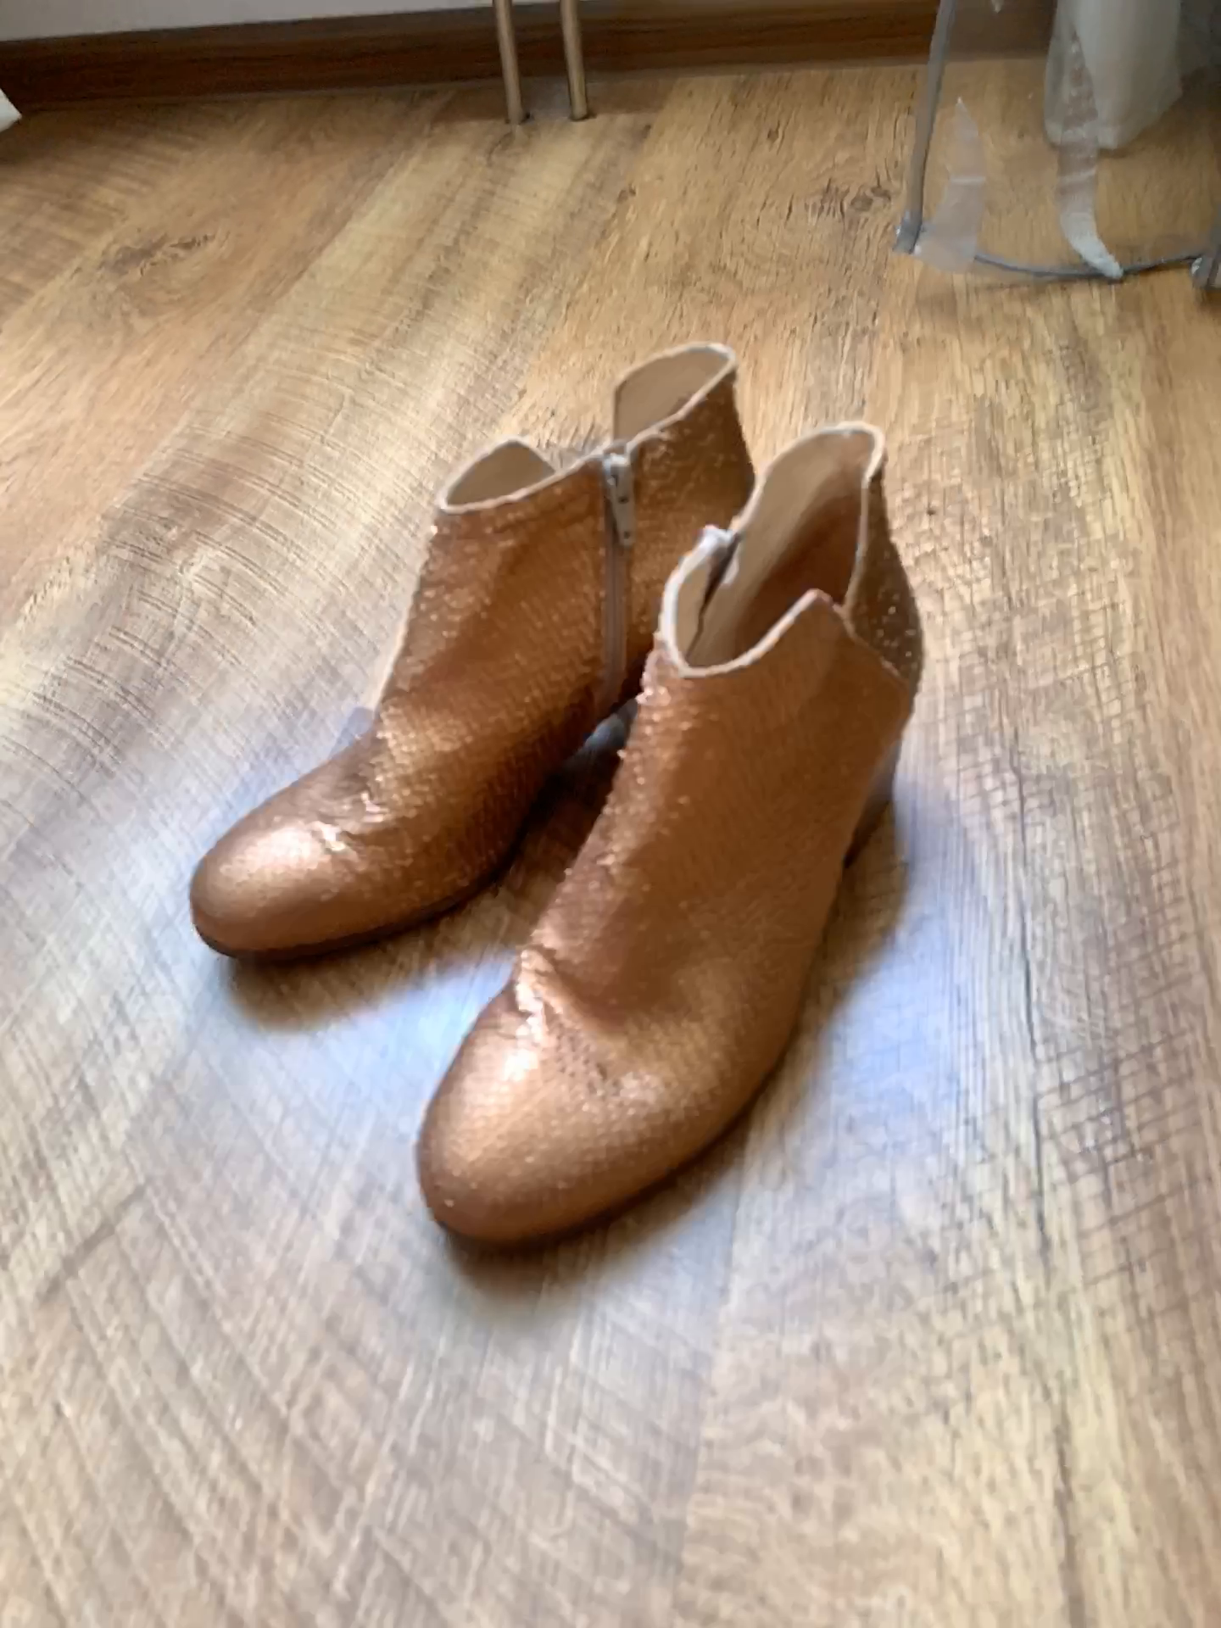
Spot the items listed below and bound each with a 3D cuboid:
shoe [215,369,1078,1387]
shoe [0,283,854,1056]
[{"bbox_3d":[0.028,0.005,0.317,0.080,0.129,0.220,23,54,28],"label":"shoe"},{"bbox_3d":[-0.041,-0.047,0.371,0.220,0.129,0.080,-28,49,-17],"label":"shoe"}]
